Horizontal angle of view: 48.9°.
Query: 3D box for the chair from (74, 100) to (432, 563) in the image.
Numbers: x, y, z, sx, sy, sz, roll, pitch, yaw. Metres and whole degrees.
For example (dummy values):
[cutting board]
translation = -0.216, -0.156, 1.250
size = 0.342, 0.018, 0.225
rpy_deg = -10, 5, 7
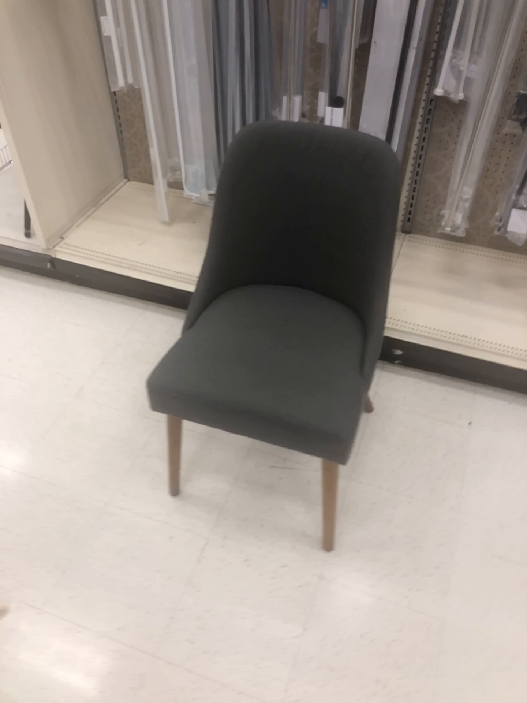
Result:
[chair]
translation = 0.023, -0.039, 1.414
size = 0.513, 0.859, 0.589
rpy_deg = 14, 45, 15
